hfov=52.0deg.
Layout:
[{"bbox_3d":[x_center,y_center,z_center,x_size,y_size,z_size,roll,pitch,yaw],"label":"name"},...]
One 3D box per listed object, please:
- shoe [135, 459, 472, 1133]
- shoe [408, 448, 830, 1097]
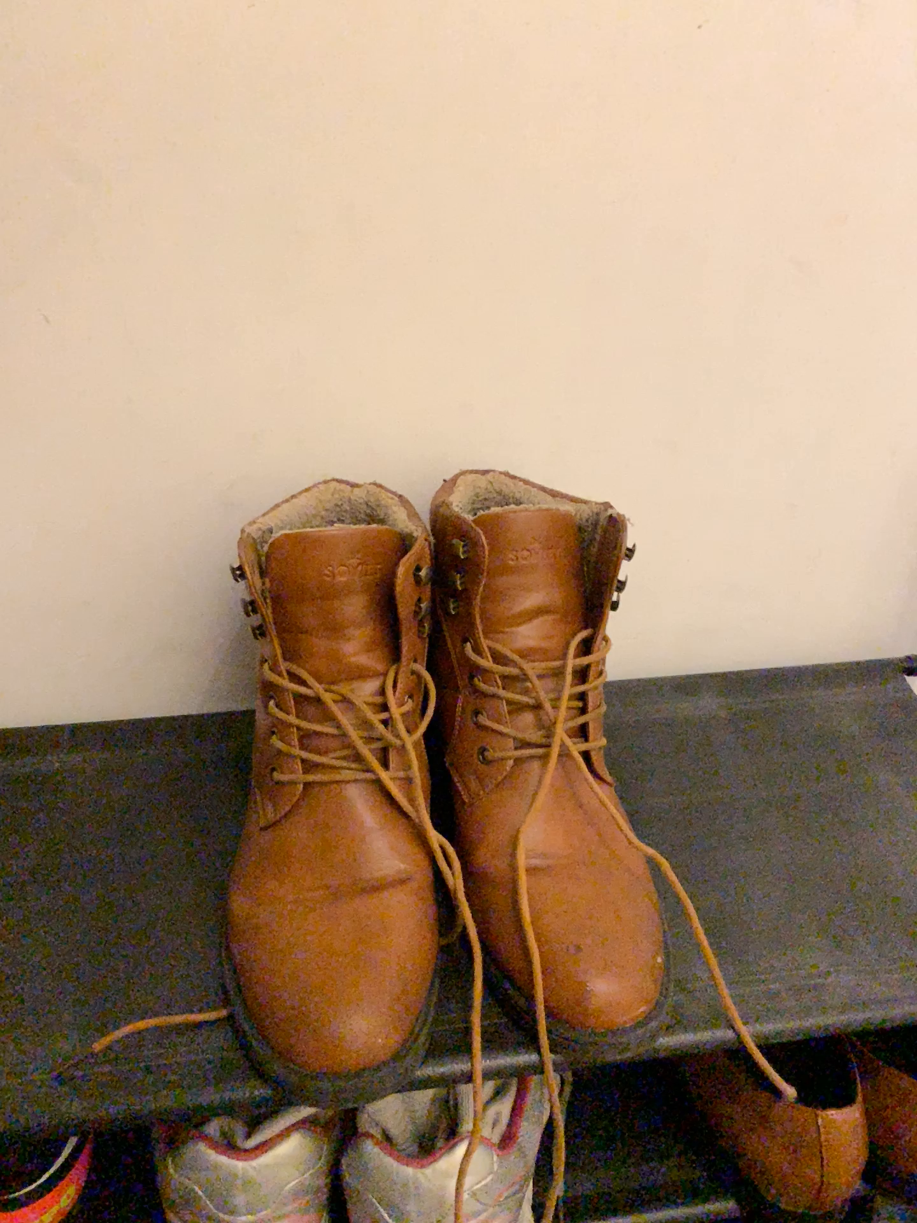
[{"bbox_3d":[-0.064,0.069,0.477,0.110,0.198,0.272,-1,31,-5],"label":"shoe"},{"bbox_3d":[0.049,0.060,0.471,0.110,0.198,0.242,-5,32,-11],"label":"shoe"}]
